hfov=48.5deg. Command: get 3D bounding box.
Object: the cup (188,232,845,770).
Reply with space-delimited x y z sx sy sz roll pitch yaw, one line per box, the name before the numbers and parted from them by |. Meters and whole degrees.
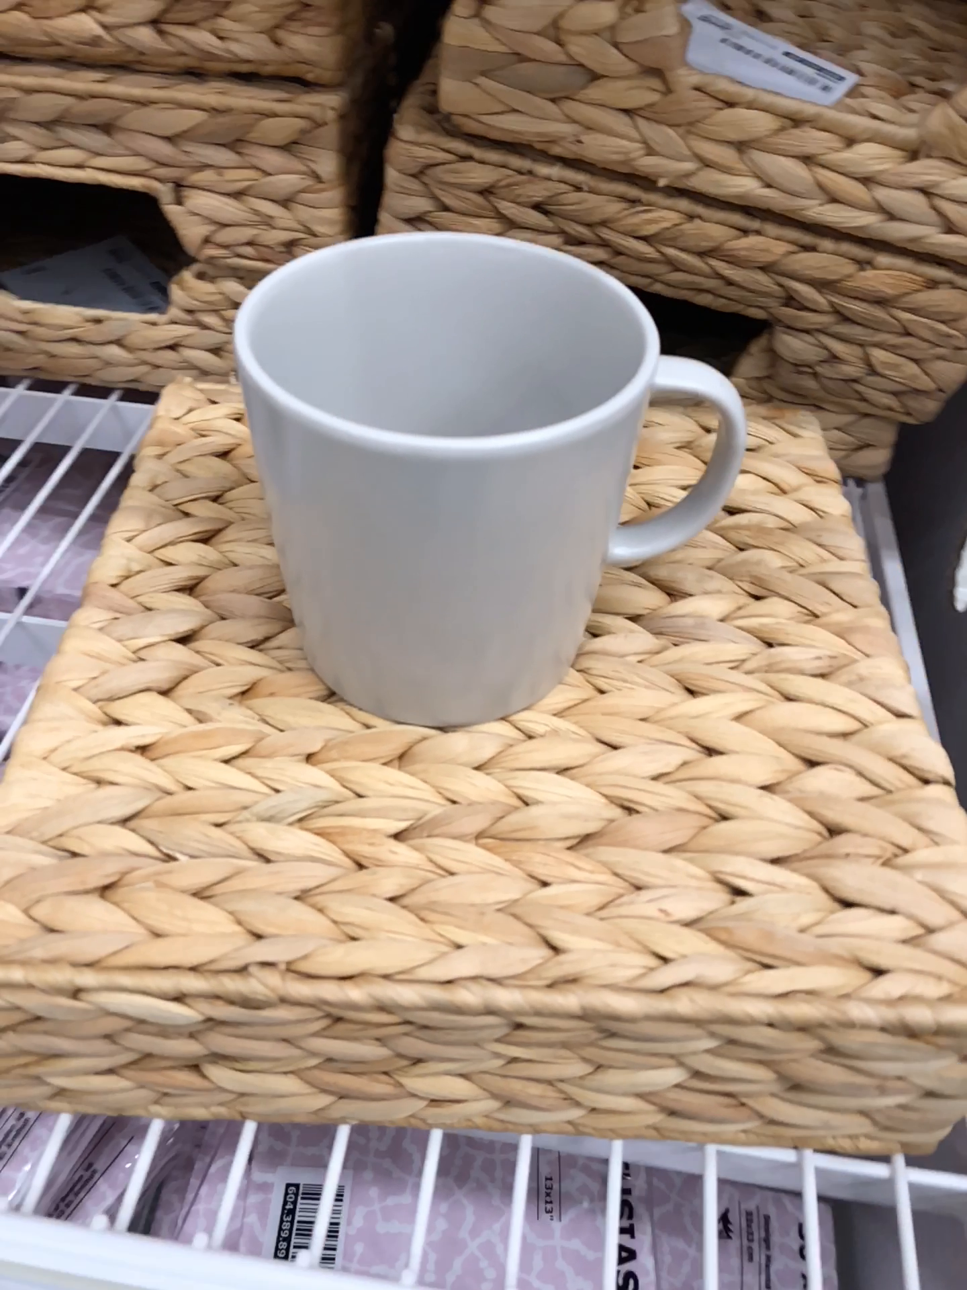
cup | 0.005 -0.035 0.259 0.120 0.090 0.090 1 43 -2
